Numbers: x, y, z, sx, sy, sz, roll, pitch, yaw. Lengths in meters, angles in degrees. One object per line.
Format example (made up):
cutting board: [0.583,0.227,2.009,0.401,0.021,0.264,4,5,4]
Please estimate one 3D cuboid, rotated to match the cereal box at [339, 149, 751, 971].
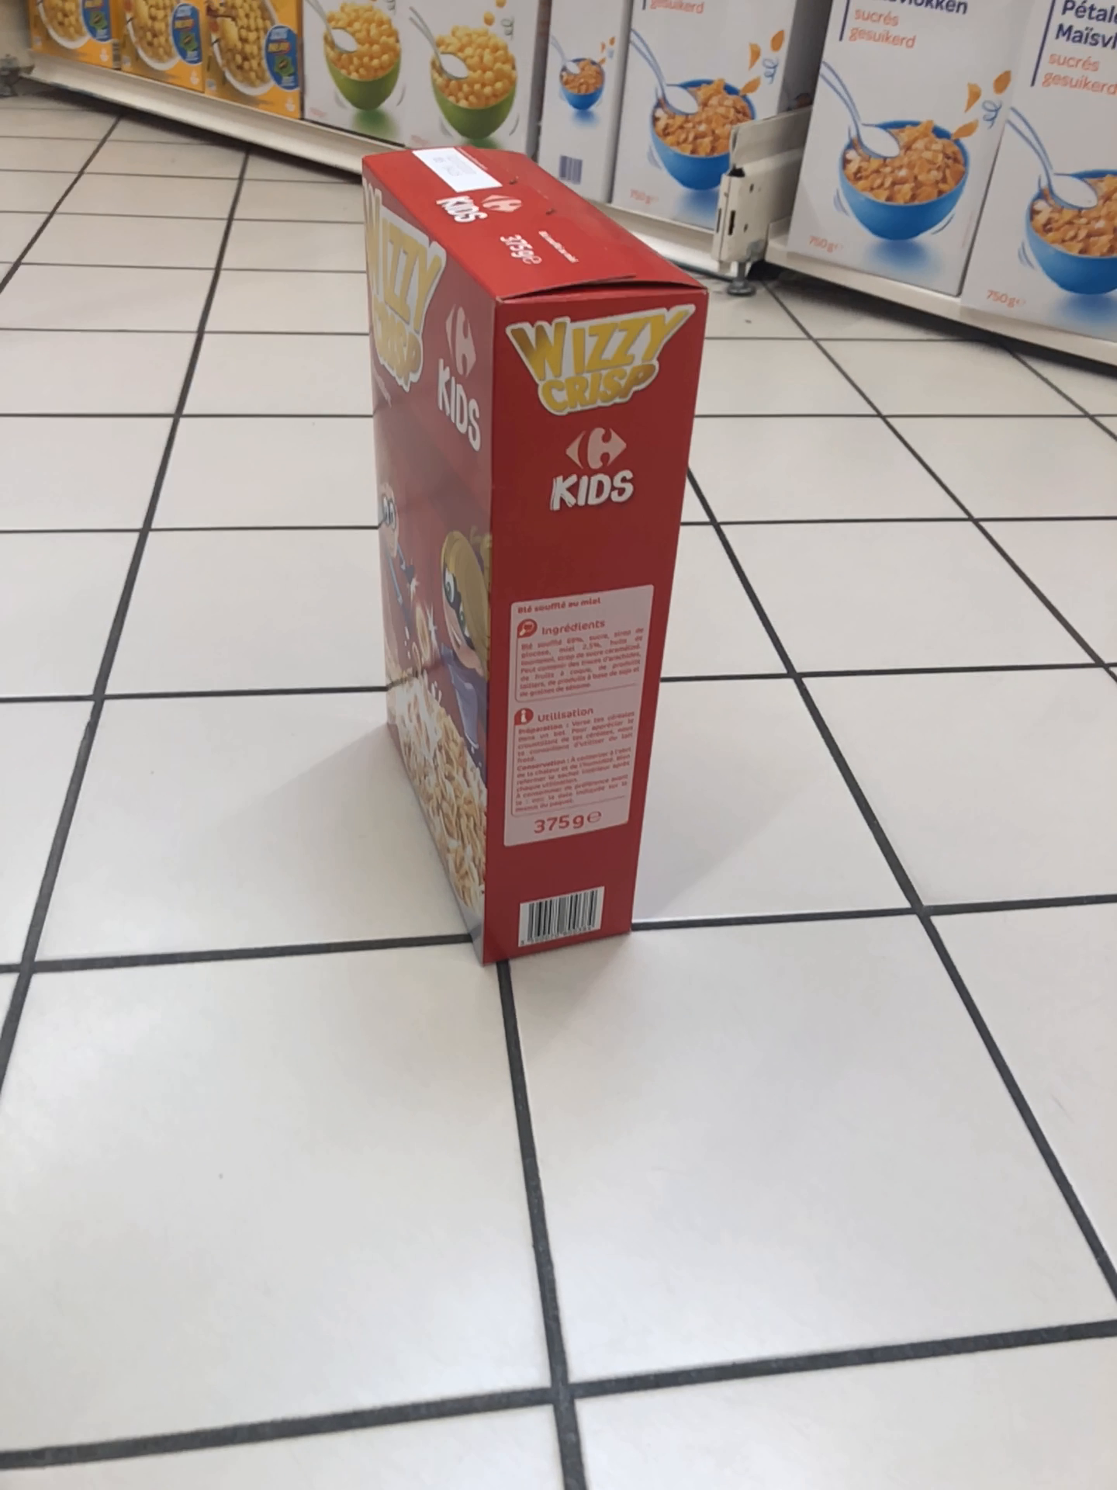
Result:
cereal box: [-0.023,-0.079,0.518,0.090,0.278,0.191,-9,38,-17]
